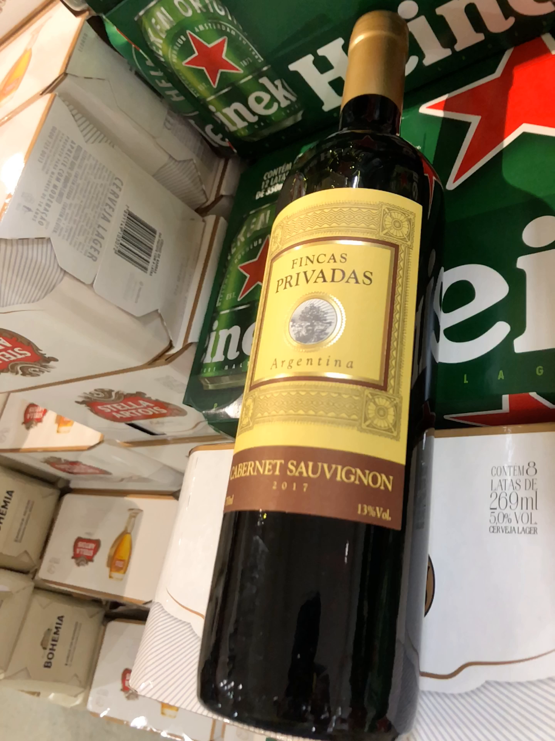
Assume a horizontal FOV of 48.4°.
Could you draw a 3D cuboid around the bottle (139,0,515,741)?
[{"bbox_3d":[0.038,-0.037,0.251,0.080,0.060,0.331,-8,60,39],"label":"bottle"}]
